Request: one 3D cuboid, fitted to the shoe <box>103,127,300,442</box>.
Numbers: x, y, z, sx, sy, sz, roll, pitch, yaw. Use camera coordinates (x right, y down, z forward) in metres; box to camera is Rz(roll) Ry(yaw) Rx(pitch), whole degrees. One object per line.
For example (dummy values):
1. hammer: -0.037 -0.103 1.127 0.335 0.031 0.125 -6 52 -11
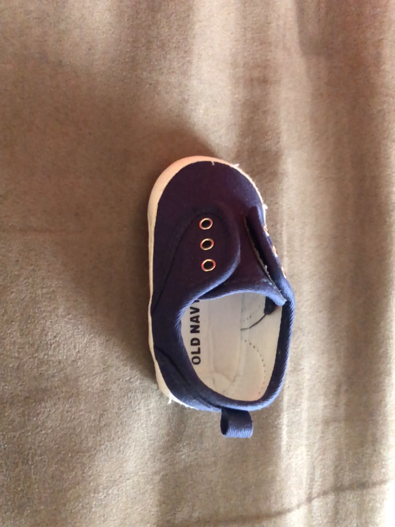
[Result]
1. shoe: -0.002 0.009 0.193 0.060 0.060 0.110 5 89 -21
